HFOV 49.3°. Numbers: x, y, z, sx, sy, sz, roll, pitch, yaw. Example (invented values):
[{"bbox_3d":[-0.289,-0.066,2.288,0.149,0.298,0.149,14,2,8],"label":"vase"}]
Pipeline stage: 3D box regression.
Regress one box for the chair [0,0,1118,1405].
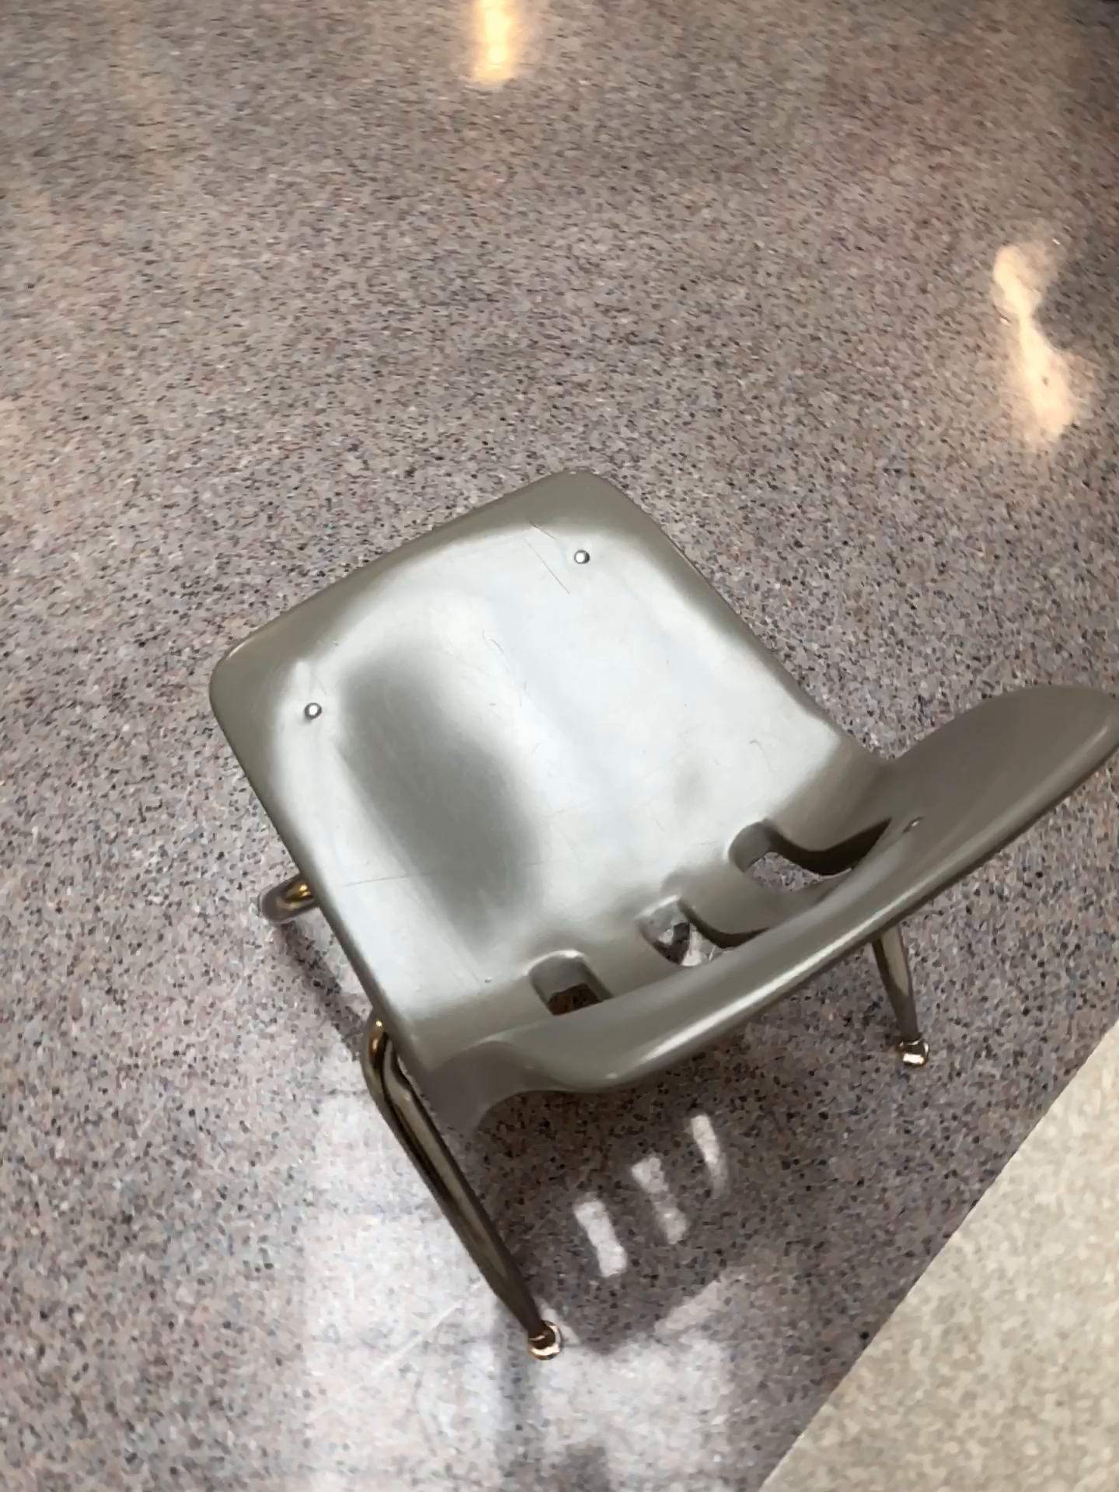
[{"bbox_3d":[-0.004,0.027,0.841,0.510,0.667,0.552,-32,65,-15],"label":"chair"}]
